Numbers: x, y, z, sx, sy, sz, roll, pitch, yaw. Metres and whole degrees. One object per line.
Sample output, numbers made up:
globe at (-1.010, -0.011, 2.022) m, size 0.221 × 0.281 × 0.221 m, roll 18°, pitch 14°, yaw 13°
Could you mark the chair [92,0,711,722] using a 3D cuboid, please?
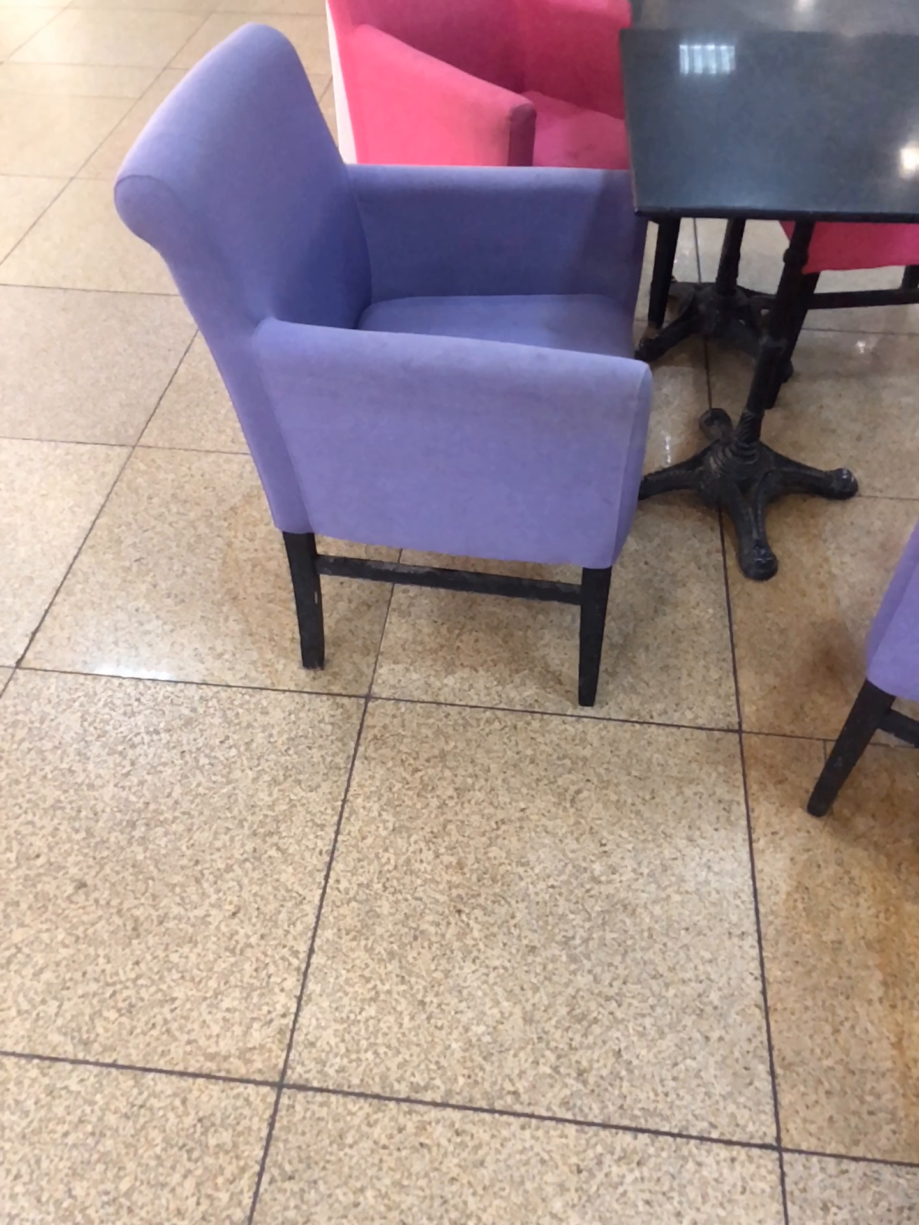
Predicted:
chair at (-0.029, -0.351, 1.477) m, size 0.610 × 0.817 × 0.592 m, roll 5°, pitch 47°, yaw 5°
